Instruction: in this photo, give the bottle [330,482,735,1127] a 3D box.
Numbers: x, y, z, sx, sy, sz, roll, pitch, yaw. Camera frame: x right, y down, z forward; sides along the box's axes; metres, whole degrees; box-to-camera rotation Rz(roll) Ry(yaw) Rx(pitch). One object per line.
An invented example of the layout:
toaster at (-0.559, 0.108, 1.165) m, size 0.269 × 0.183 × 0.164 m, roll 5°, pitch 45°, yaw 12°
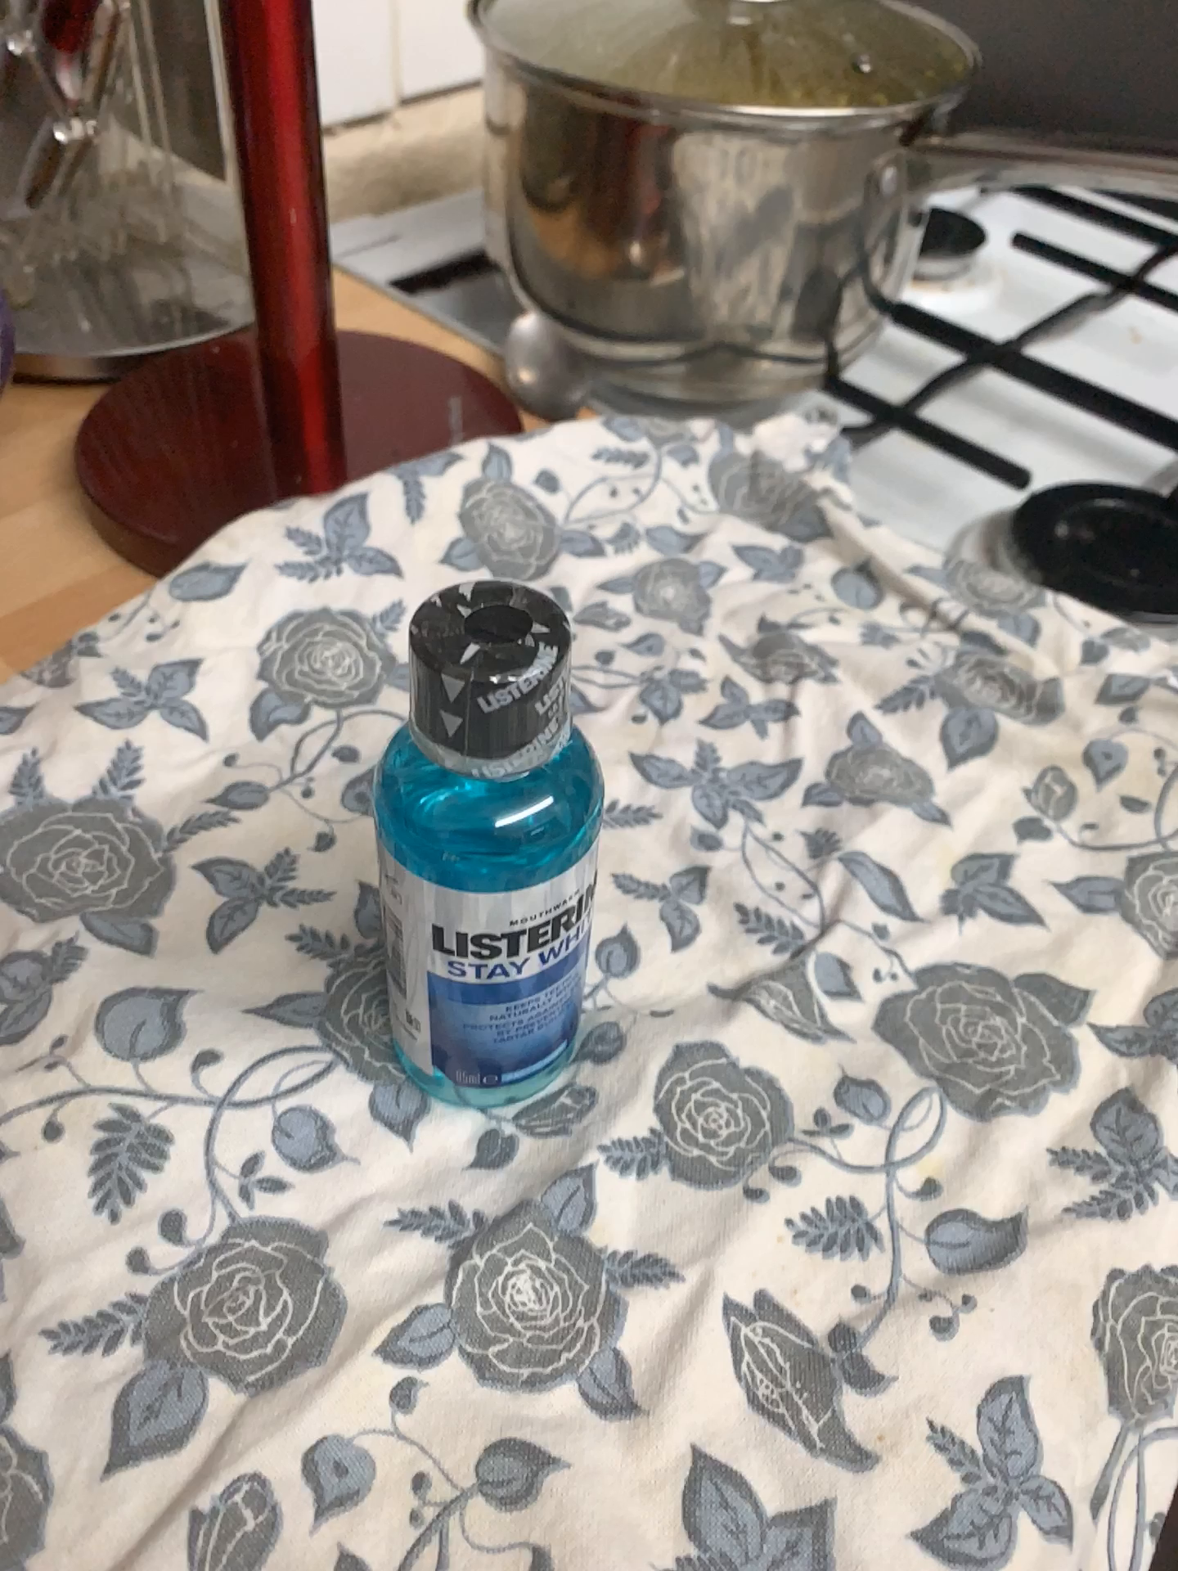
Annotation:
bottle at (-0.014, 0.008, 0.229) m, size 0.050 × 0.109 × 0.050 m, roll 3°, pitch 45°, yaw -3°
